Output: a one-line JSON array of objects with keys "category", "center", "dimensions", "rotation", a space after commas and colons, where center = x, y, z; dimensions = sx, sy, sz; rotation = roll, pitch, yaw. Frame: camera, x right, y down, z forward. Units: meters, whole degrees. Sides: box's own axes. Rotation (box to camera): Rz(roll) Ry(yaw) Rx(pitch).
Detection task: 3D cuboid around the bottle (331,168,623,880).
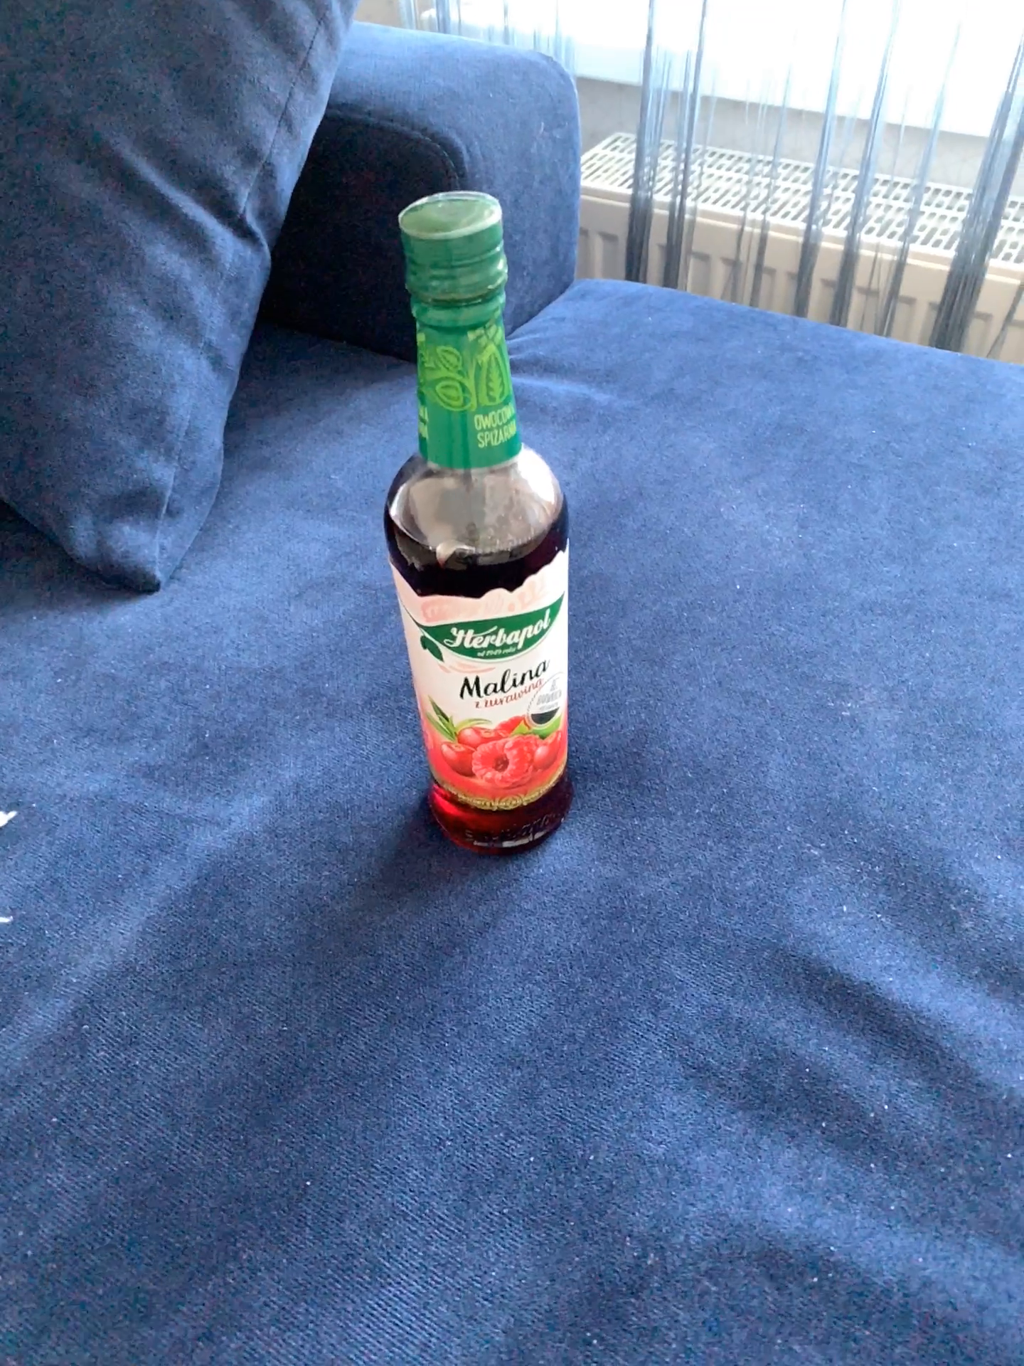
[{"category": "bottle", "center": [-0.009, -0.036, 0.373], "dimensions": [0.070, 0.249, 0.070], "rotation": [-1, 45, 1]}]
